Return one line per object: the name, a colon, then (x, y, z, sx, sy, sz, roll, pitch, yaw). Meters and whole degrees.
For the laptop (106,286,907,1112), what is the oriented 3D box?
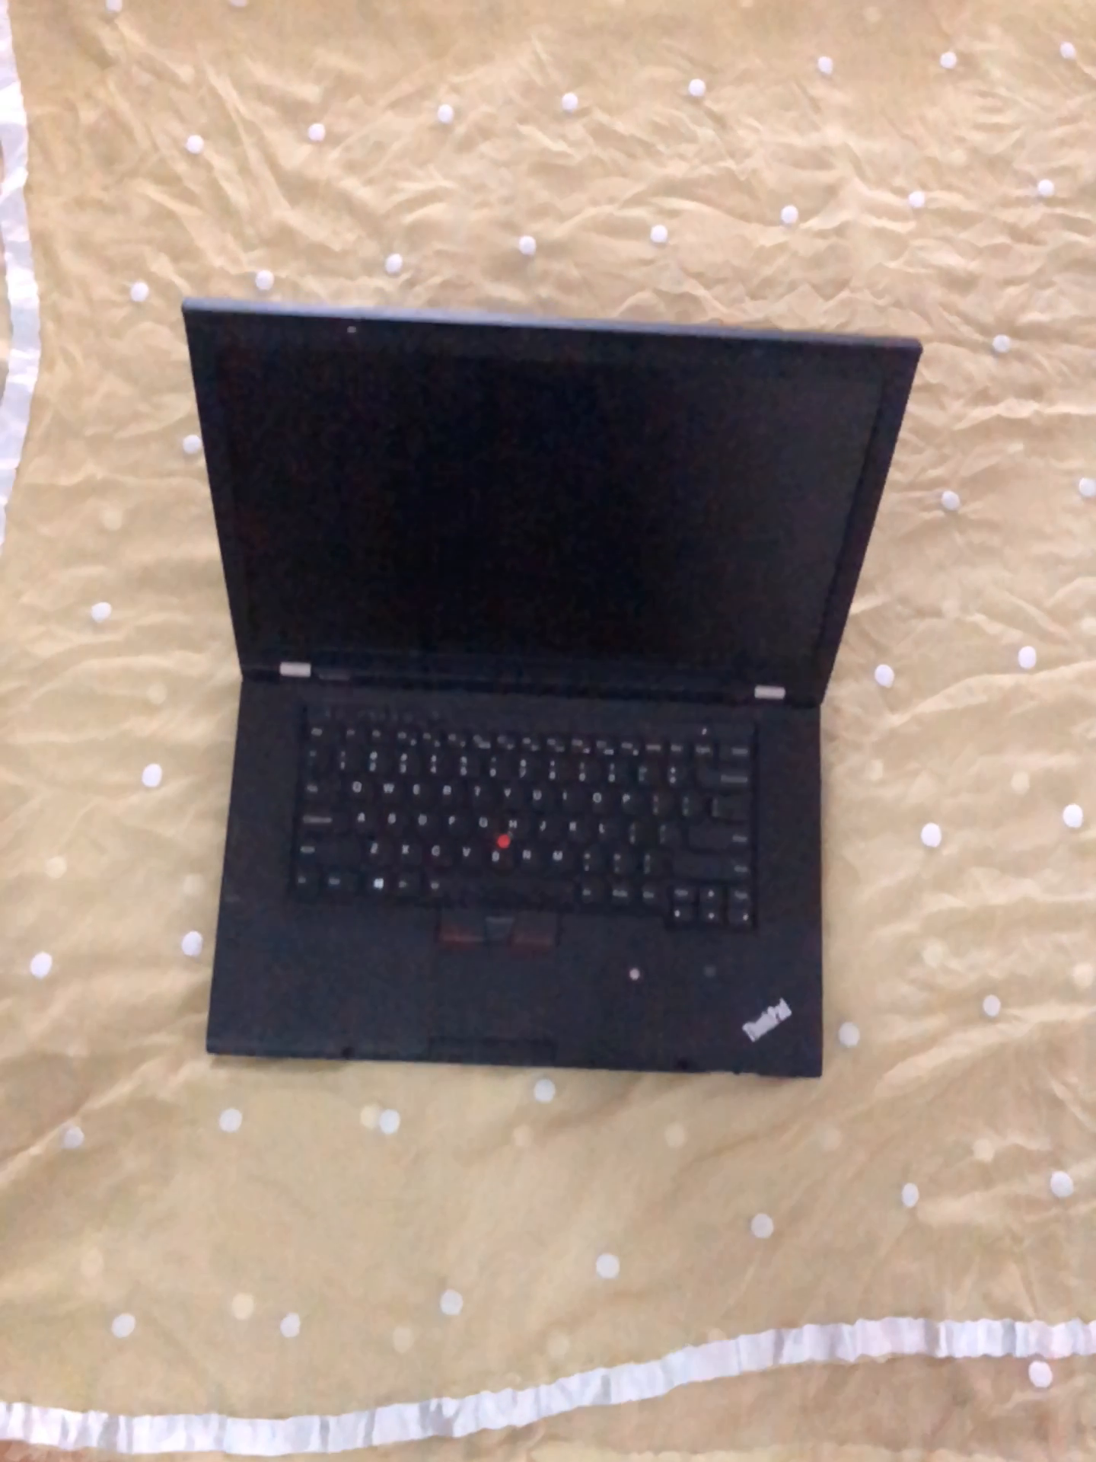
laptop: (-0.012, -0.003, 0.669, 0.363, 0.192, 0.380, 3, 81, -2)
